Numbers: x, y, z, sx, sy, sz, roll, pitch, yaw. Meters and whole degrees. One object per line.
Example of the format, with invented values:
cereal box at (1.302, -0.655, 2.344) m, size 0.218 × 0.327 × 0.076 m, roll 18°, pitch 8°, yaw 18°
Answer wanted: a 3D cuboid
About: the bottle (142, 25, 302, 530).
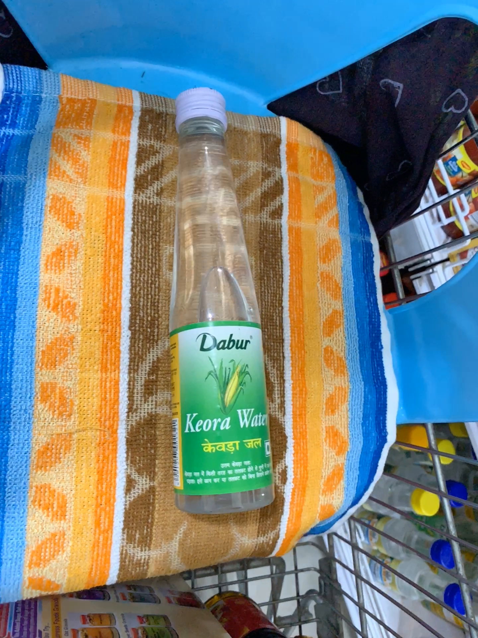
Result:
bottle at (-0.012, -0.019, 0.225) m, size 0.050 × 0.050 × 0.200 m, roll -1°, pitch 84°, yaw -20°
